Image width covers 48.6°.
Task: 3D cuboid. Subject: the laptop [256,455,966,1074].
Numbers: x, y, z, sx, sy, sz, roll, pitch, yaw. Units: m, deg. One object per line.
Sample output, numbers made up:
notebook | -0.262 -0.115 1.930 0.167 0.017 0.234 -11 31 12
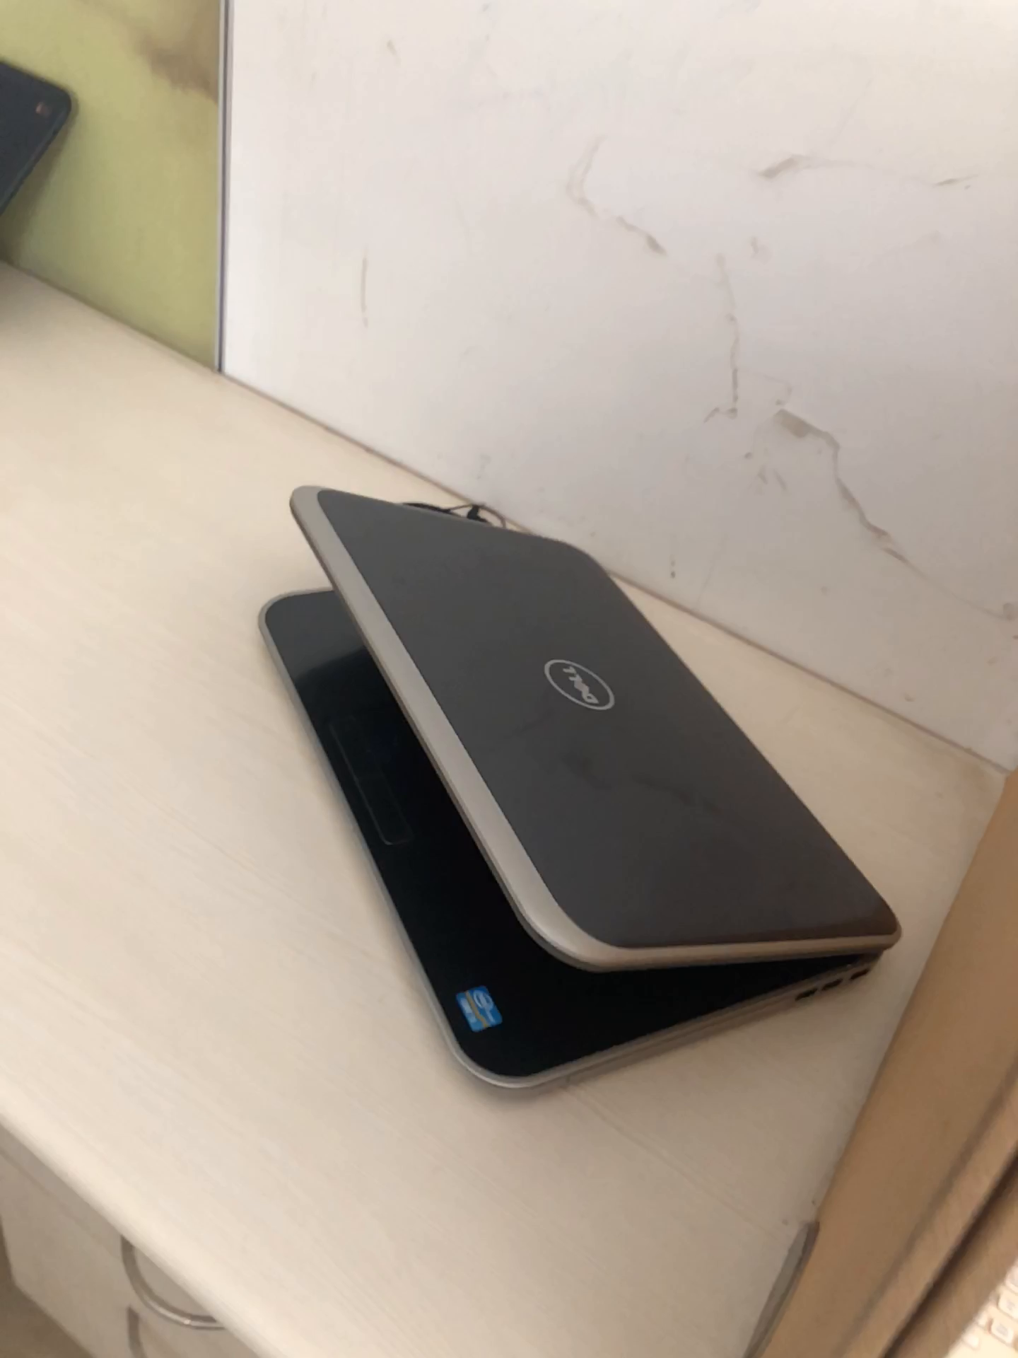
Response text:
laptop | 0.027 0.009 0.626 0.238 0.093 0.359 -8 42 -26
